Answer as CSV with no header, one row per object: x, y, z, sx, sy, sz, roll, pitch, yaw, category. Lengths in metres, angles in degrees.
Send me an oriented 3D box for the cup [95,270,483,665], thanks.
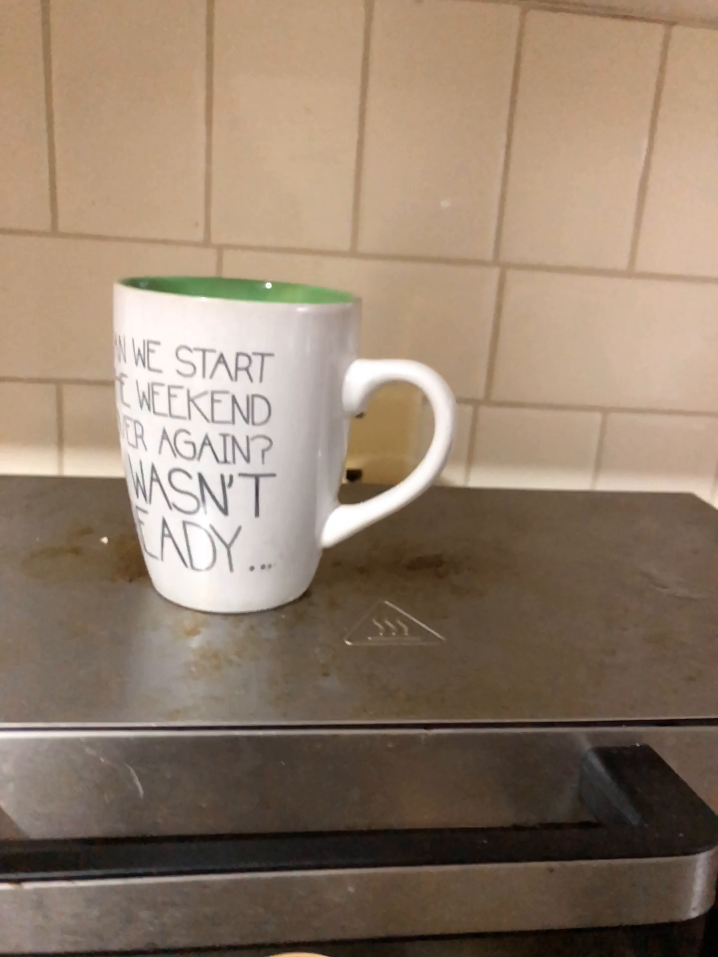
-0.023,-0.012,0.281,0.110,0.110,0.070,8,16,15,cup
